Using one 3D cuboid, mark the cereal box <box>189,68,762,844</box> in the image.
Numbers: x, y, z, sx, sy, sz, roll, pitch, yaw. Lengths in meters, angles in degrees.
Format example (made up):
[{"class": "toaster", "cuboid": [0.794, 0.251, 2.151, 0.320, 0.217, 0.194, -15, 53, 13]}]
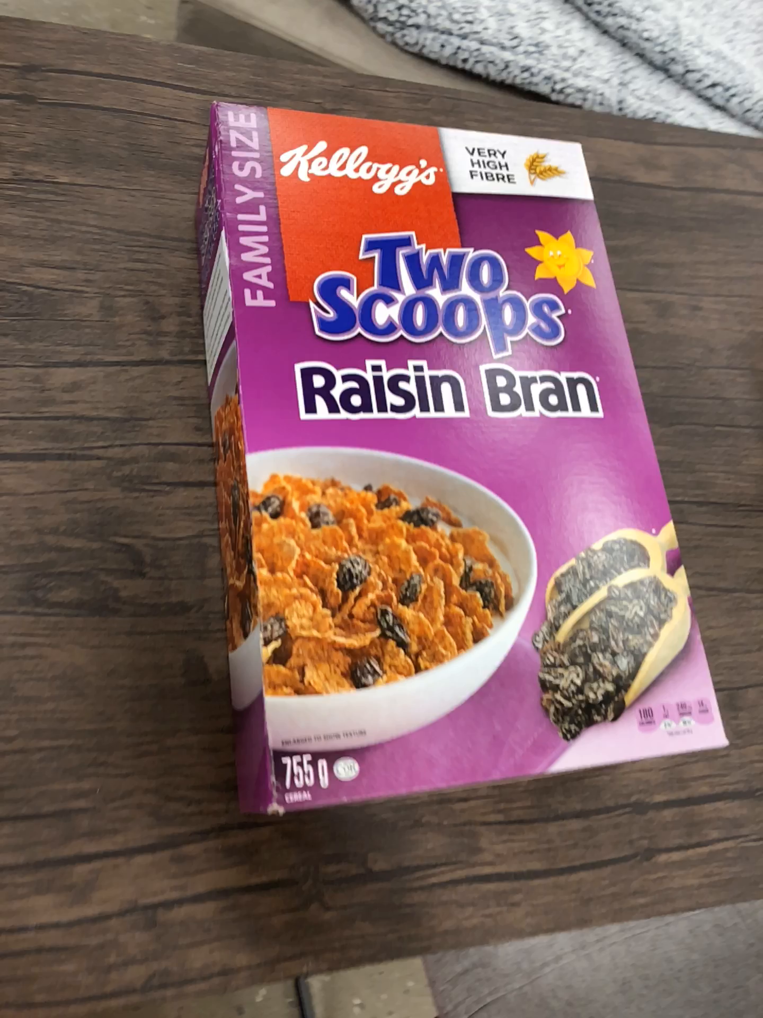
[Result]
[{"class": "cereal box", "cuboid": [0.031, -0.032, 0.395, 0.210, 0.080, 0.320, -2, 72, -19]}]
